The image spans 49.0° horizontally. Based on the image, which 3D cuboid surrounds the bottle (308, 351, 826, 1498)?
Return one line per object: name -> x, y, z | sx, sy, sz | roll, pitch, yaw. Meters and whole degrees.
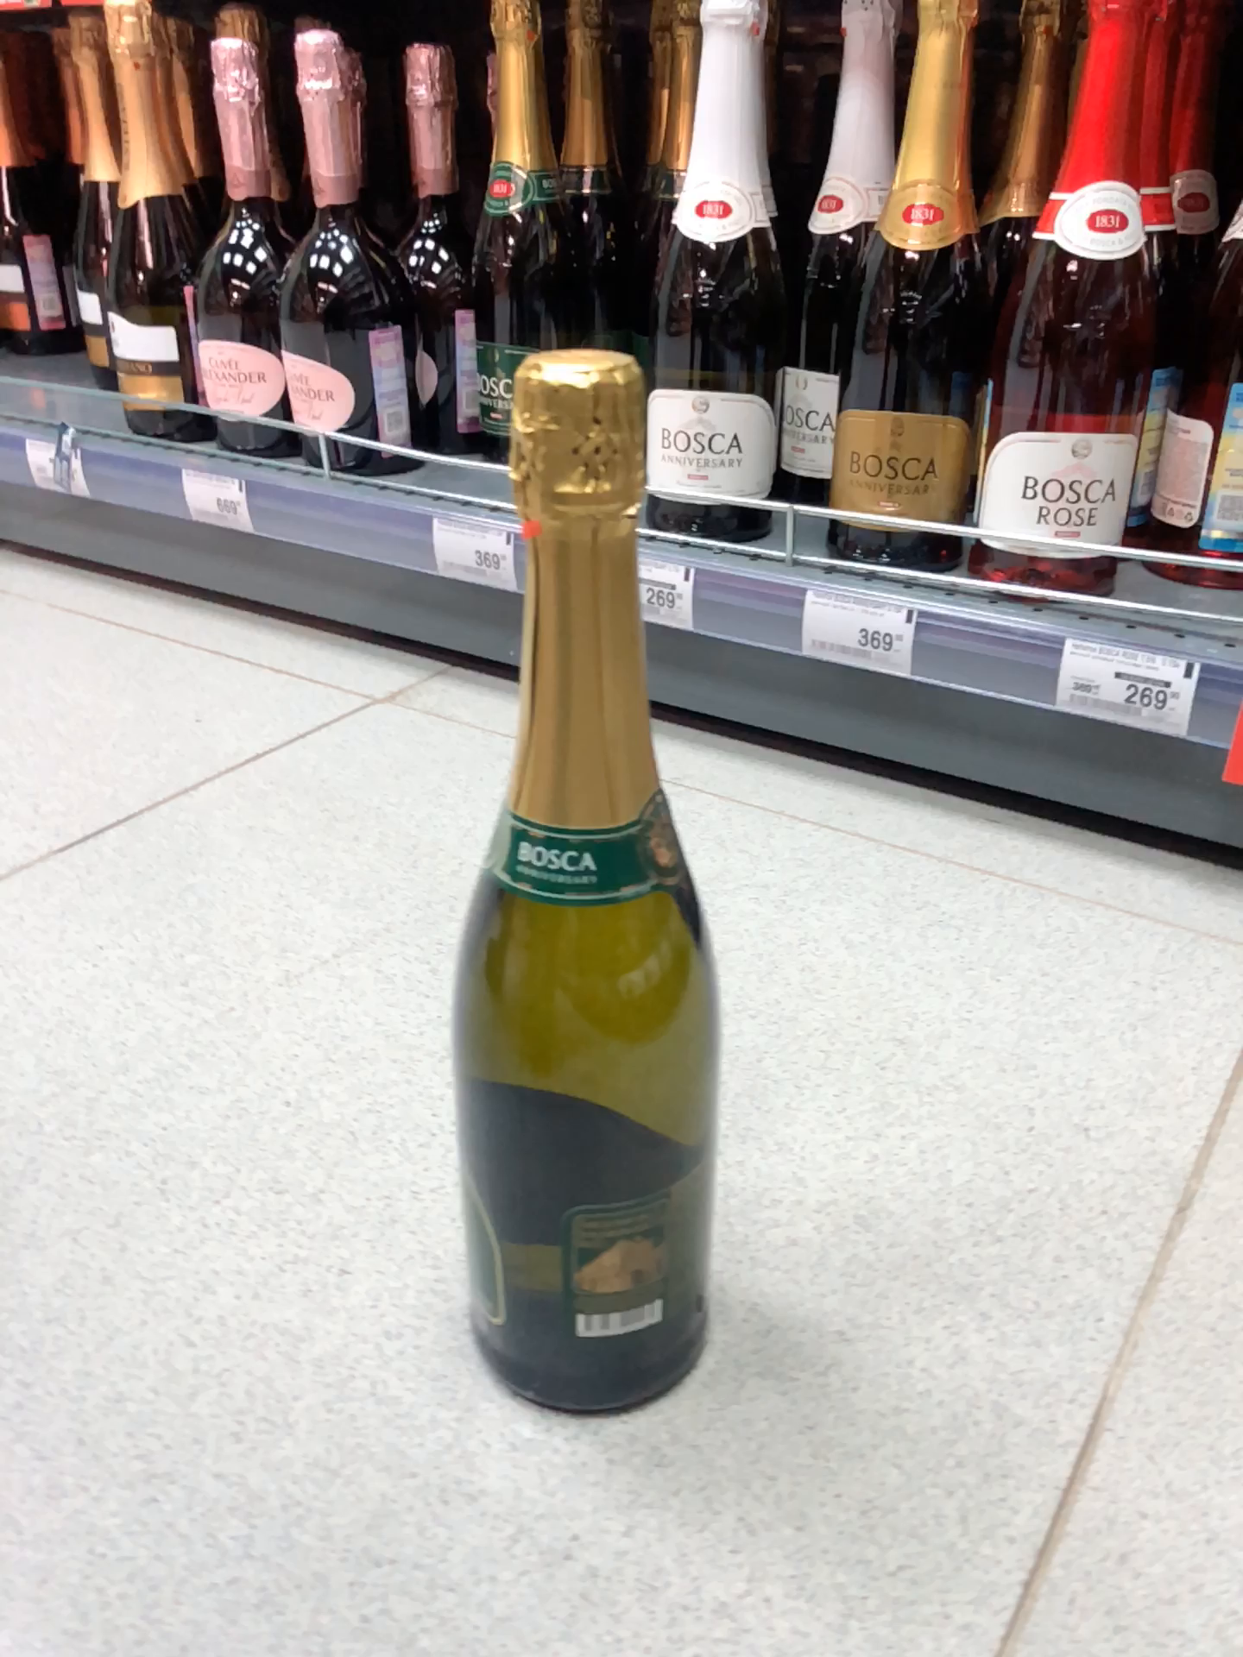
bottle -> -0.011, 0.035, 0.398 | 0.090, 0.314, 0.090 | 0, 27, 0
